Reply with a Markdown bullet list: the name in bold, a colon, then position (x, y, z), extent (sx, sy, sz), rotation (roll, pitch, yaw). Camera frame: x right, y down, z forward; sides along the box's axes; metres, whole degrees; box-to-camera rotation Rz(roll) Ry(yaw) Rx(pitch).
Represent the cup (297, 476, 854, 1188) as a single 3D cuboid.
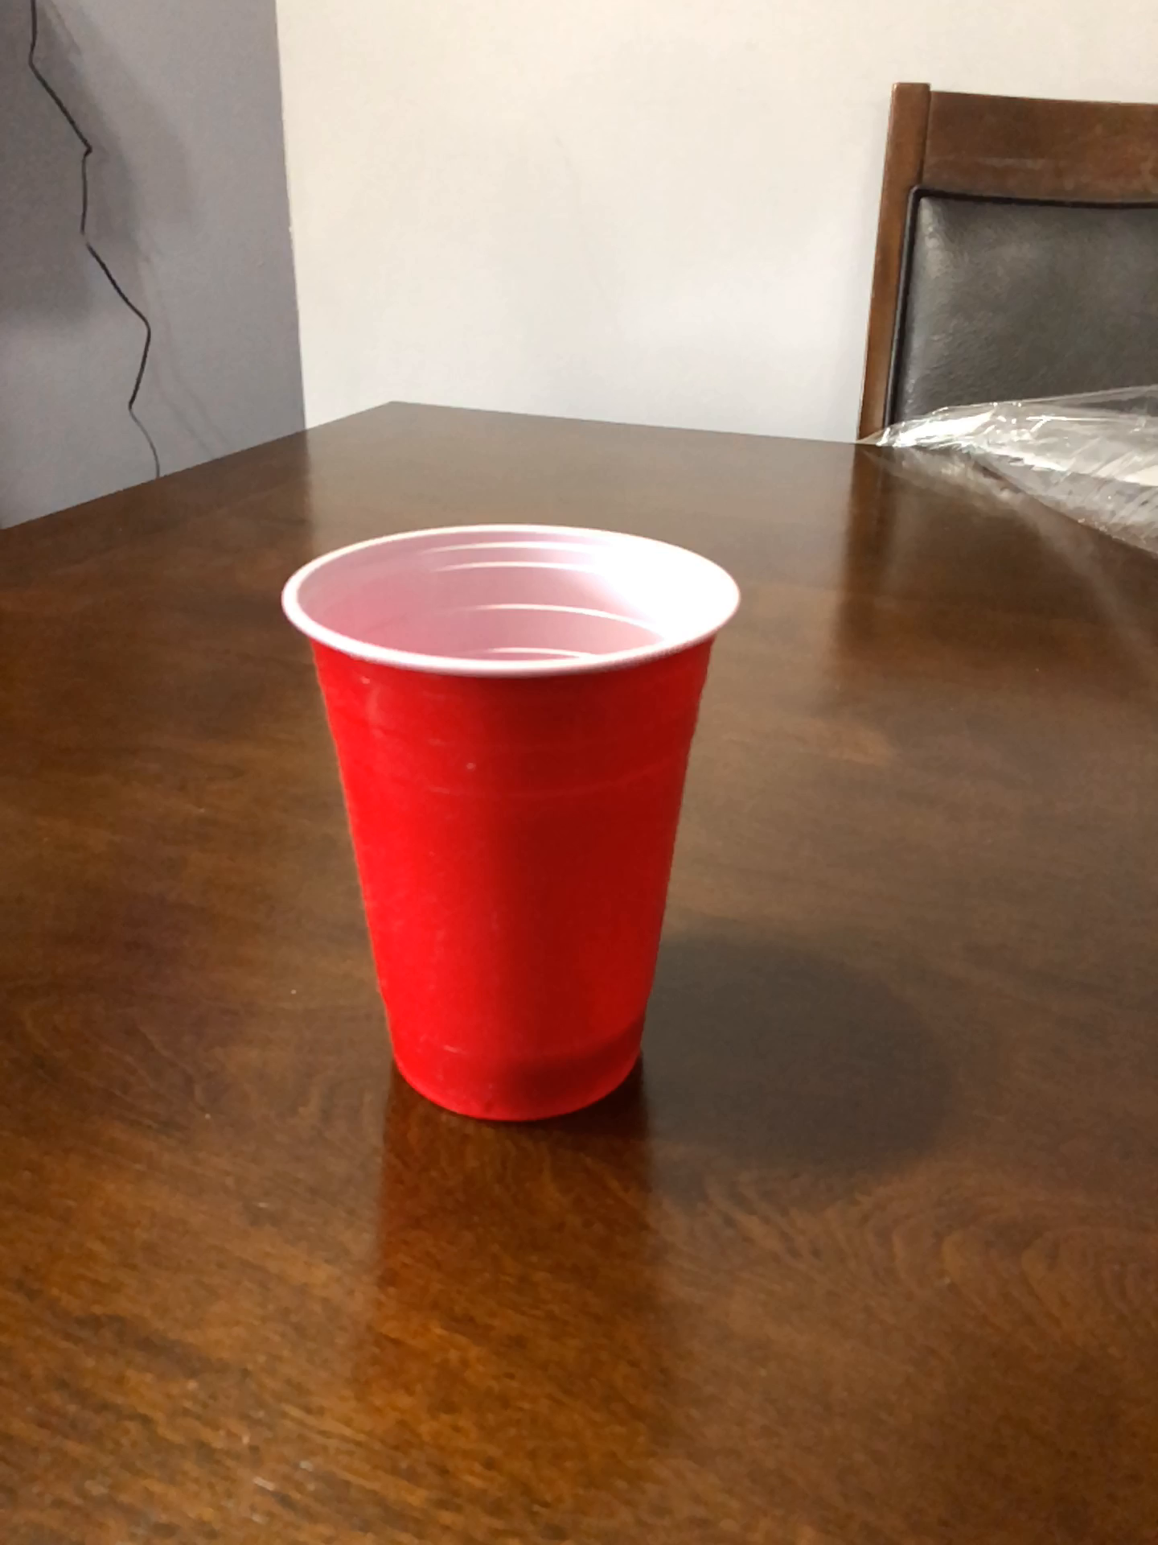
- **cup**: position (-0.007, 0.006, 0.284), extent (0.090, 0.120, 0.090), rotation (1, 24, 0)
